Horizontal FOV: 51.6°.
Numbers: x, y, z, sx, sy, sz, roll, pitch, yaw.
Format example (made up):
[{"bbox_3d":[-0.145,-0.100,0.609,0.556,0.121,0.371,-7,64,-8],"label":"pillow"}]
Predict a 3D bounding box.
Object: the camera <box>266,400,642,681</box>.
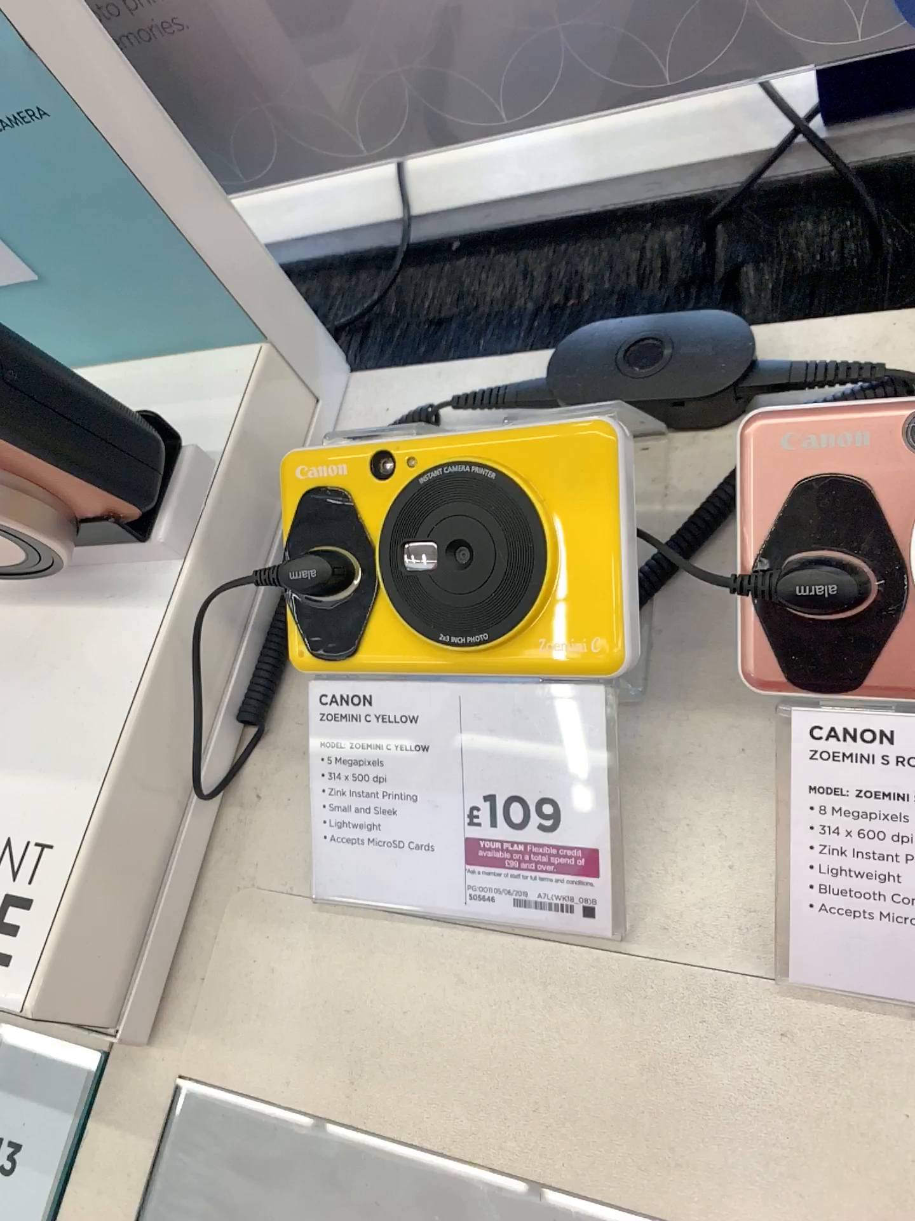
[{"bbox_3d":[-0.004,-0.019,0.304,0.120,0.020,0.080,-1,93,25],"label":"camera"}]
